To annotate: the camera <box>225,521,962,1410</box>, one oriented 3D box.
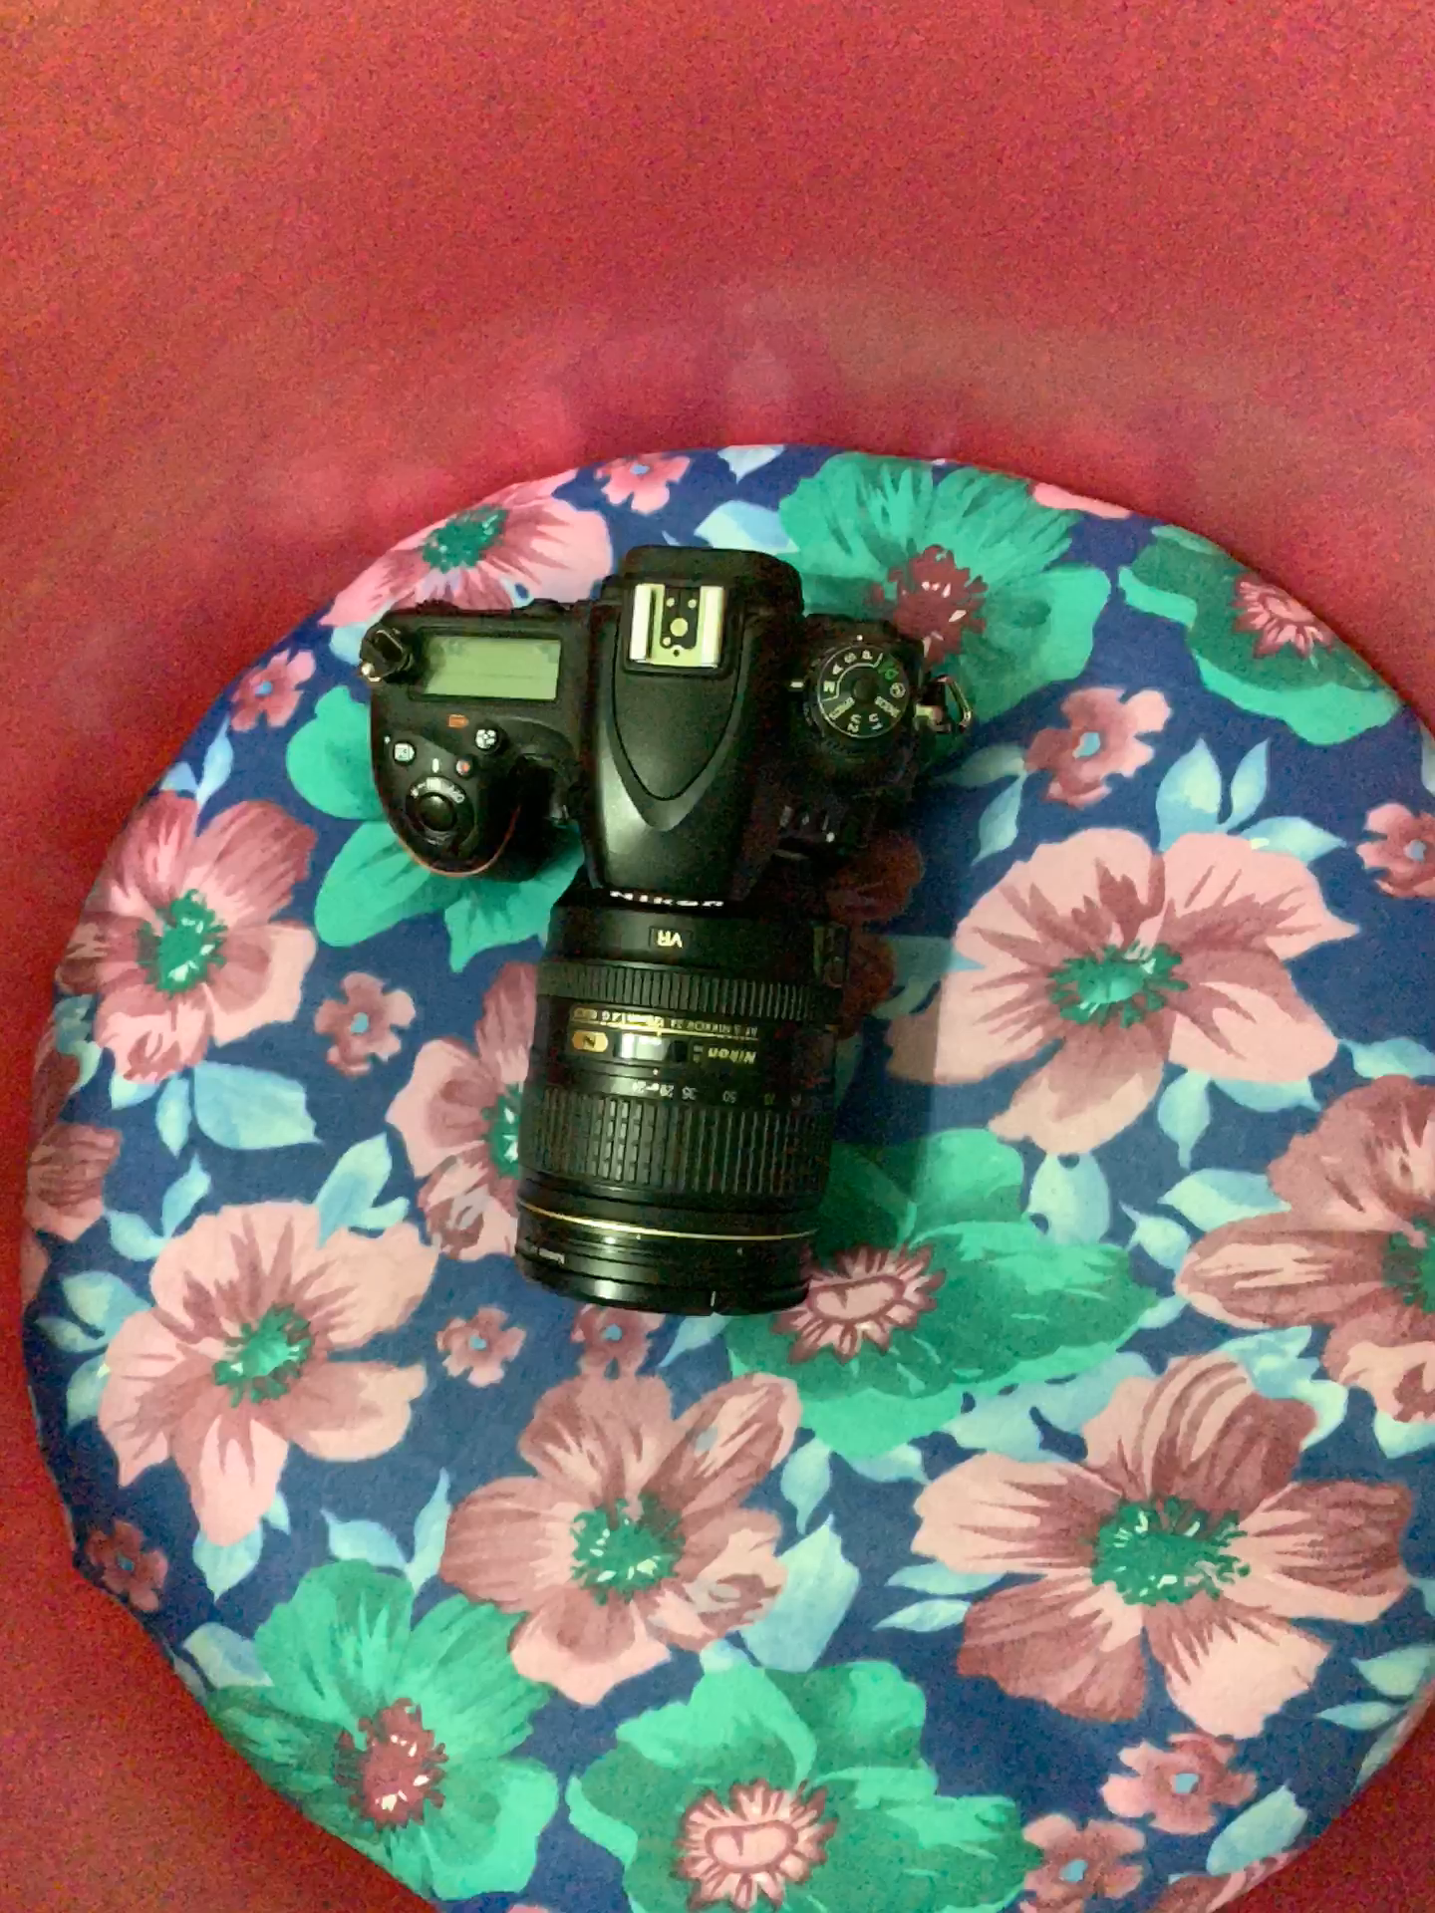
[{"bbox_3d":[-0.020,0.001,0.371,0.140,0.111,0.179,6,86,12],"label":"camera"}]
